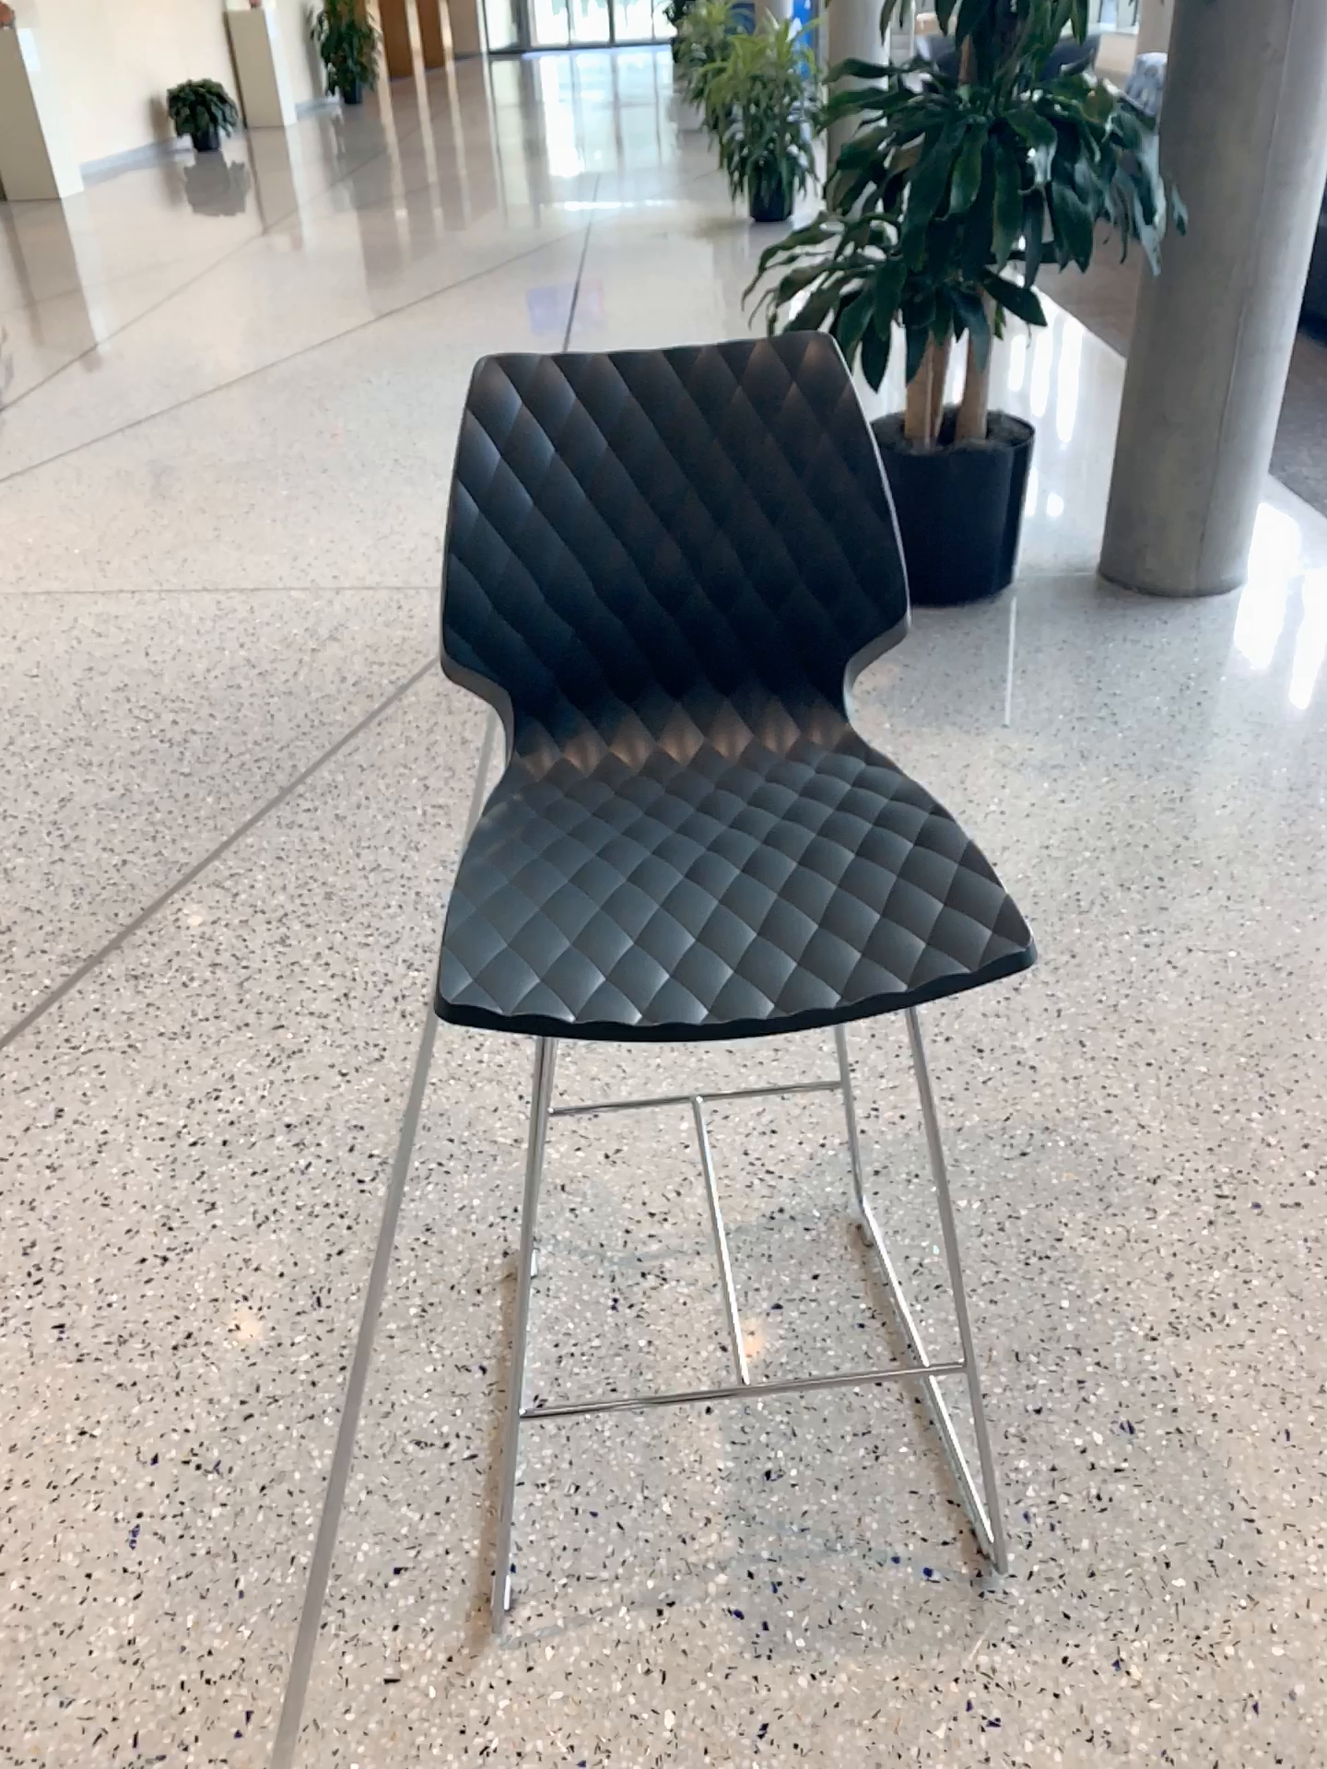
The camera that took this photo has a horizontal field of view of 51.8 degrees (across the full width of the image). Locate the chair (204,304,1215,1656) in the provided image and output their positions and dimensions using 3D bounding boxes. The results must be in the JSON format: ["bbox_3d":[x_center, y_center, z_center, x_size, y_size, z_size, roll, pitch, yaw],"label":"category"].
[{"bbox_3d":[0.035,0.107,1.227,0.531,1.048,0.551,-4,33,-2],"label":"chair"}]
